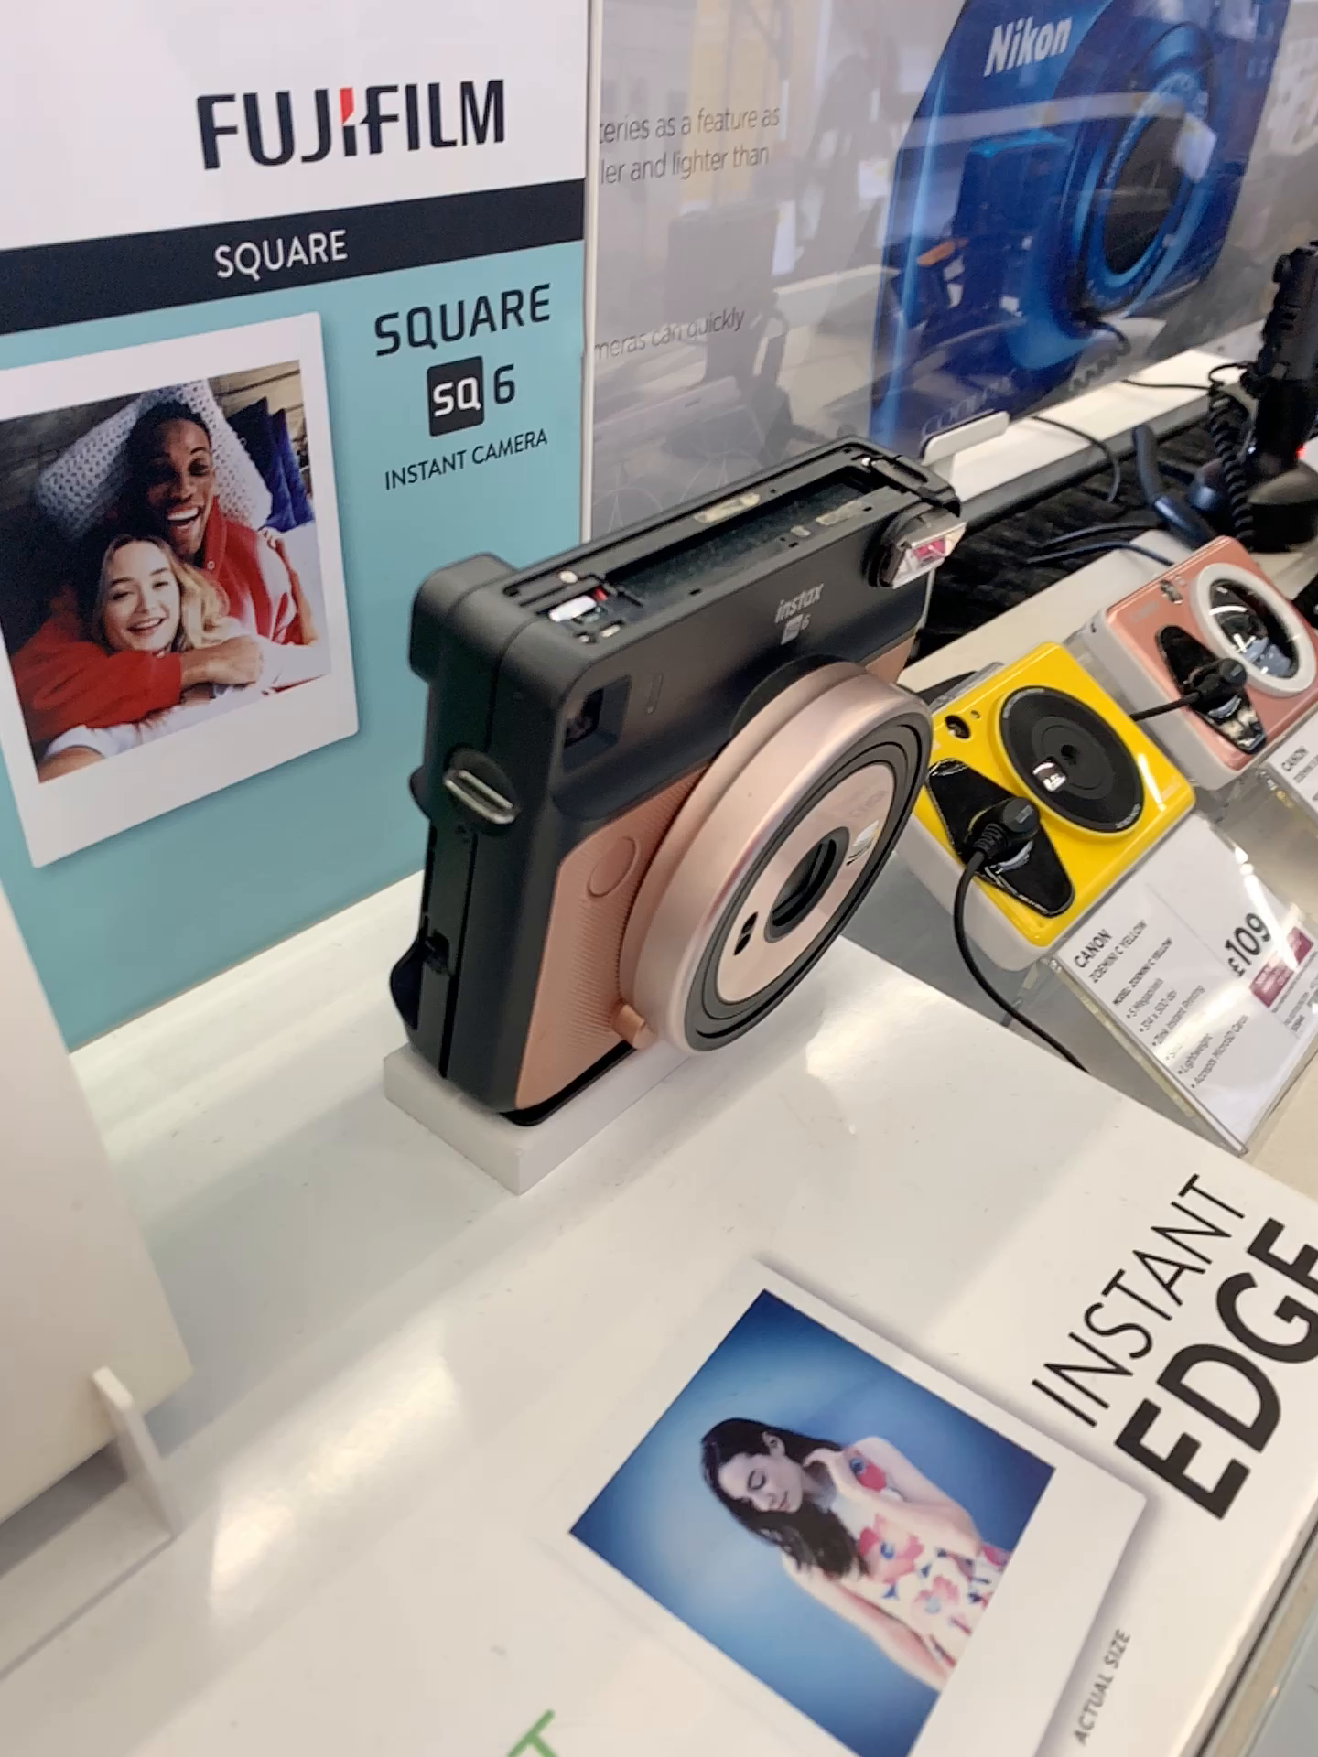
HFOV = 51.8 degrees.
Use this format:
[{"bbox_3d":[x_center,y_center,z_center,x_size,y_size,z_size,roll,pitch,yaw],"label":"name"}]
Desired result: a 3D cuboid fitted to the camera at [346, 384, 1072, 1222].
[{"bbox_3d":[0.009,-0.021,0.280,0.060,0.119,0.131,35,44,21],"label":"camera"}]
